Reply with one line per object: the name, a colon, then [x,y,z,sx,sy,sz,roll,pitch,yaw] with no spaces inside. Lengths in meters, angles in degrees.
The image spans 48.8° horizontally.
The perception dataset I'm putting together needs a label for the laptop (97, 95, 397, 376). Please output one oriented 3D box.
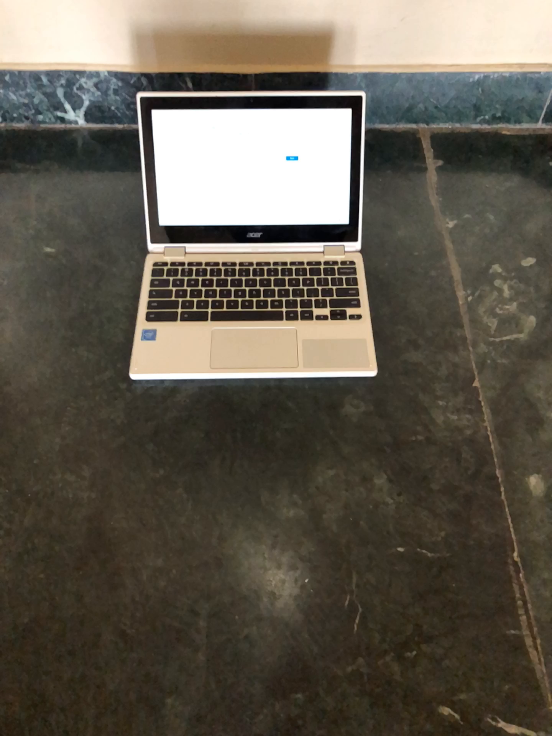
laptop: [-0.029,-0.166,0.726,0.280,0.156,0.315,-1,55,-1]
